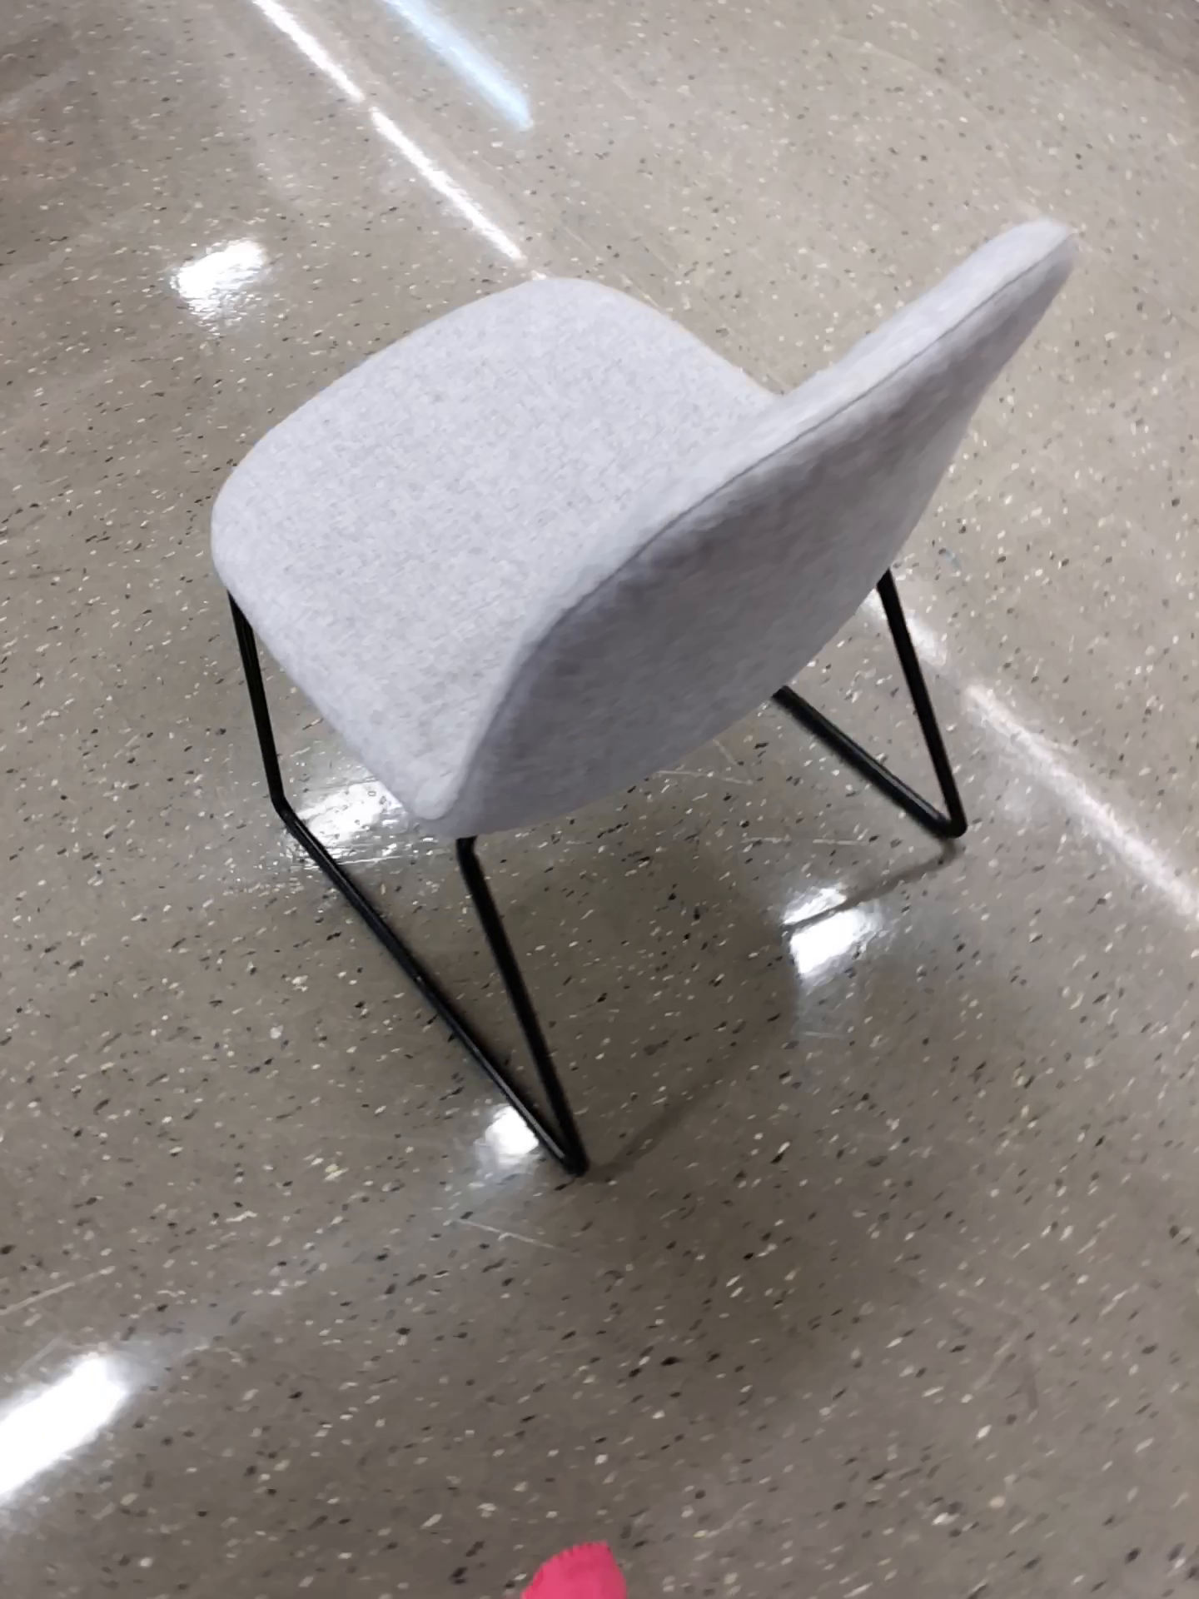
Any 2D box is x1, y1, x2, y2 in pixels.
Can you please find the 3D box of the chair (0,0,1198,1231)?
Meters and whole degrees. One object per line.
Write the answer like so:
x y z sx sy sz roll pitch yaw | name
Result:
0.002 -0.182 0.975 0.590 0.779 0.581 -37 66 -16 | chair
